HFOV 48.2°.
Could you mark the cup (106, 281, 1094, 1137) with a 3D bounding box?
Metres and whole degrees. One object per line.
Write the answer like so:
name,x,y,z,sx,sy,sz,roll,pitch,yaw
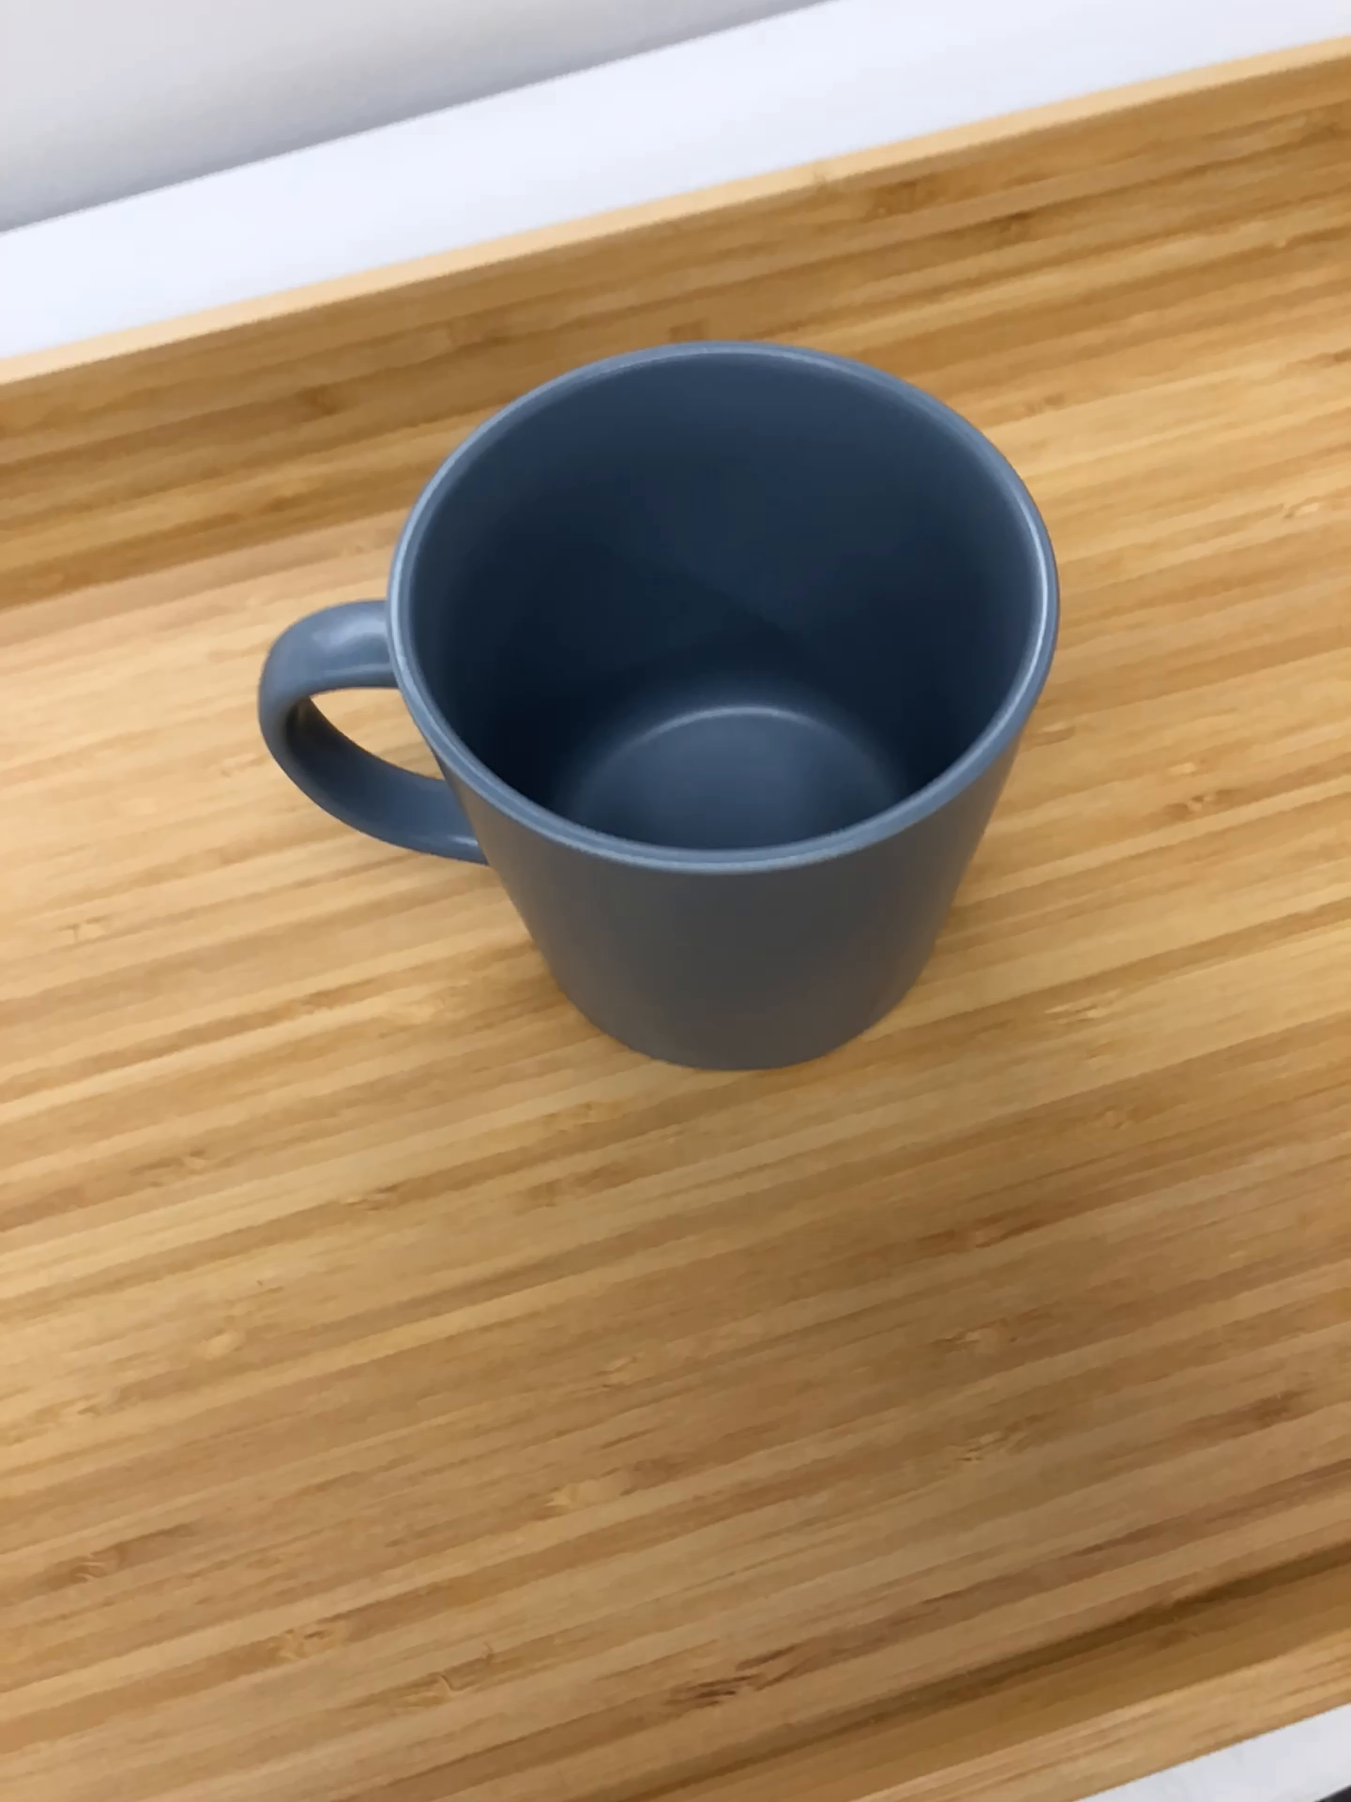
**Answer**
cup,-0.004,-0.027,0.243,0.120,0.090,0.090,6,63,5
